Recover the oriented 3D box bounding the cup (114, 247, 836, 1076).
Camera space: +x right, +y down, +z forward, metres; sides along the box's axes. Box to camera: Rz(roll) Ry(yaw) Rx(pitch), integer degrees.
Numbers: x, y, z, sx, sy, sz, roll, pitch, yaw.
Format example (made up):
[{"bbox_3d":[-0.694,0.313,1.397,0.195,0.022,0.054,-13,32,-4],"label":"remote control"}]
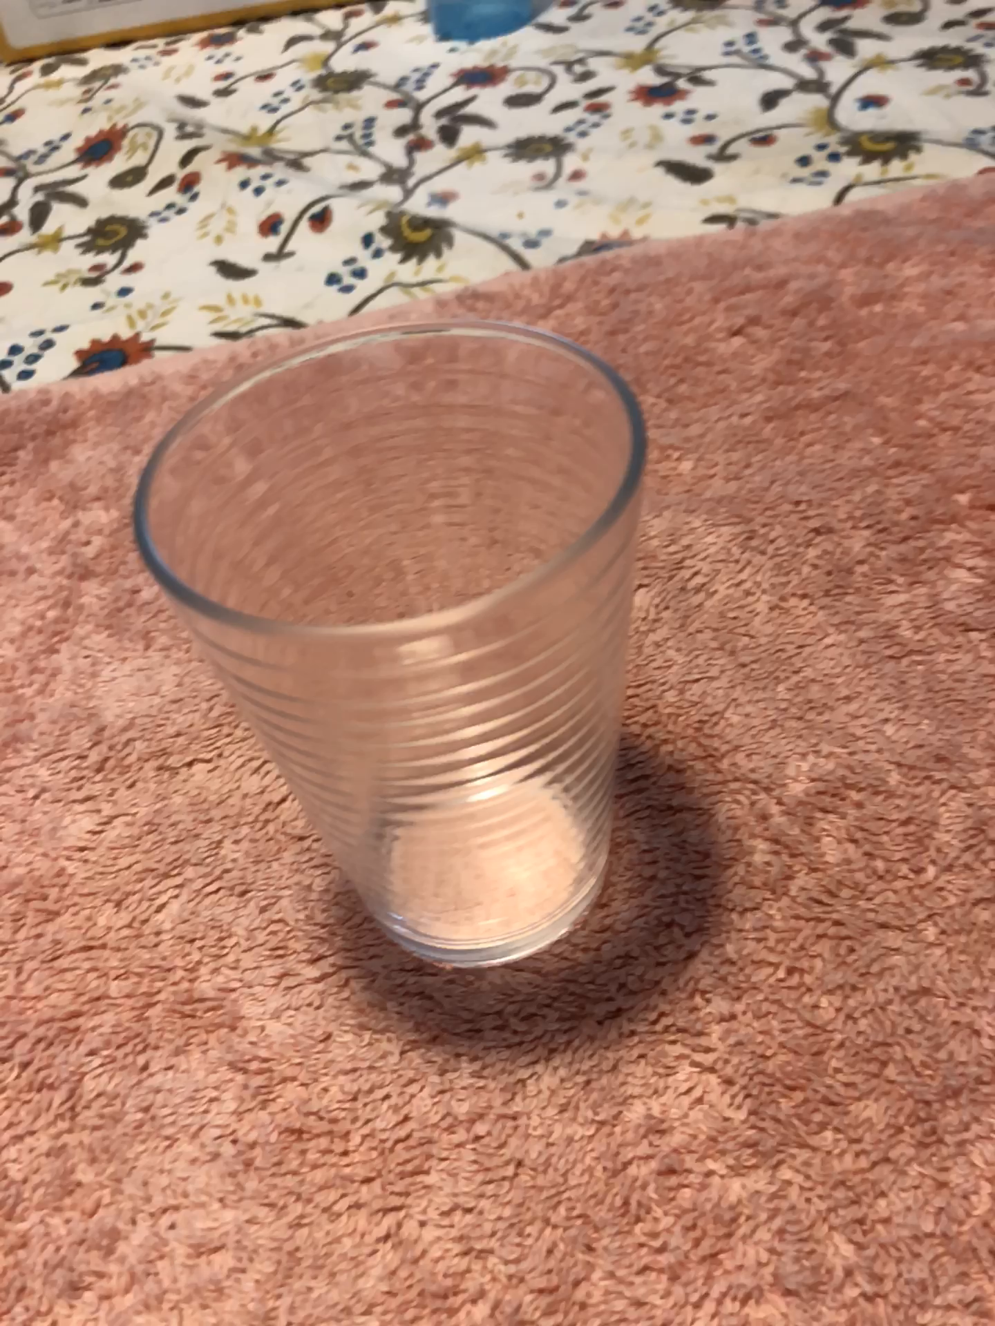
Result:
[{"bbox_3d":[-0.005,0.000,0.187,0.080,0.089,0.080,-4,47,5],"label":"cup"}]
